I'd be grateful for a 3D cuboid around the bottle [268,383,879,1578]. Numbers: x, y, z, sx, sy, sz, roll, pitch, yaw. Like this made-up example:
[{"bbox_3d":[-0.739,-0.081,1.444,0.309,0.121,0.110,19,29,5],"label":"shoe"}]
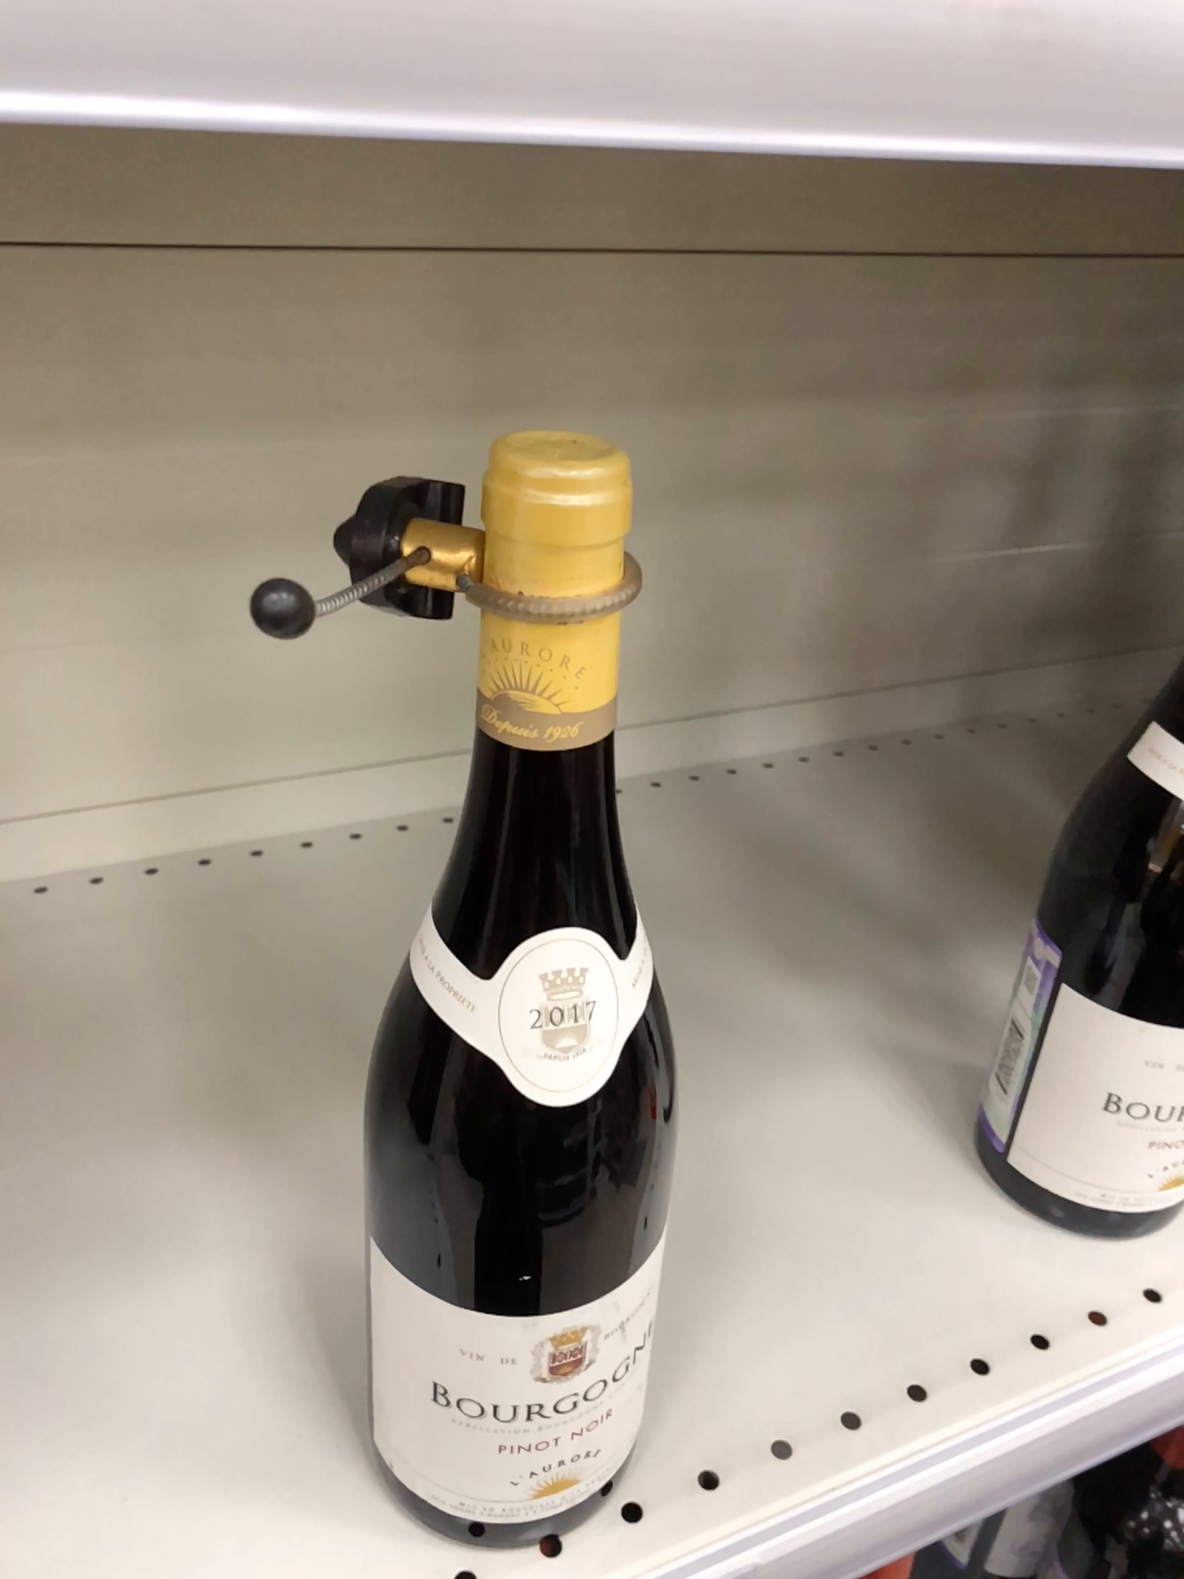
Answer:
[{"bbox_3d":[-0.018,0.060,0.318,0.090,0.288,0.090,3,29,-2],"label":"bottle"}]
